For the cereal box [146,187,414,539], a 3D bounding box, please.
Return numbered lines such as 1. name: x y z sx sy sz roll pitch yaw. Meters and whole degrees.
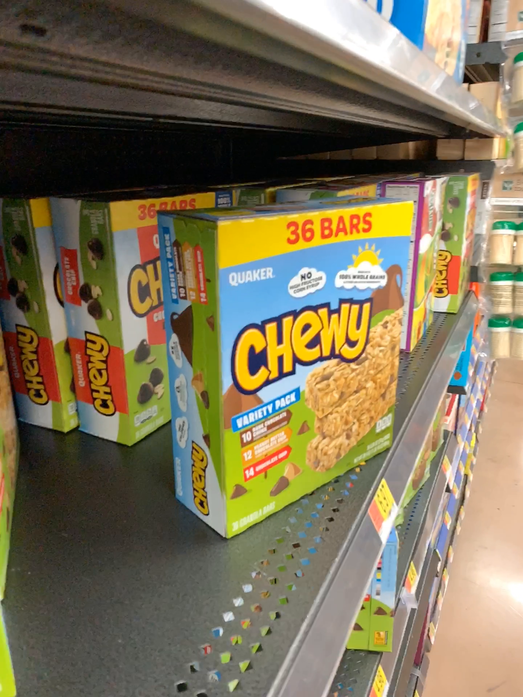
1. cereal box: 0.023 -0.005 0.423 0.200 0.229 0.070 -16 24 -38
